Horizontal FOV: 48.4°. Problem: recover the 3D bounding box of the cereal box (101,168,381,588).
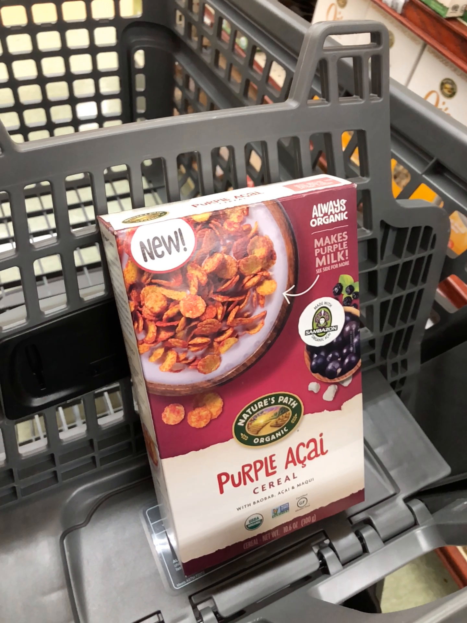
[{"bbox_3d":[0.019,0.046,0.389,0.170,0.270,0.070,-15,23,-20],"label":"cereal box"}]
